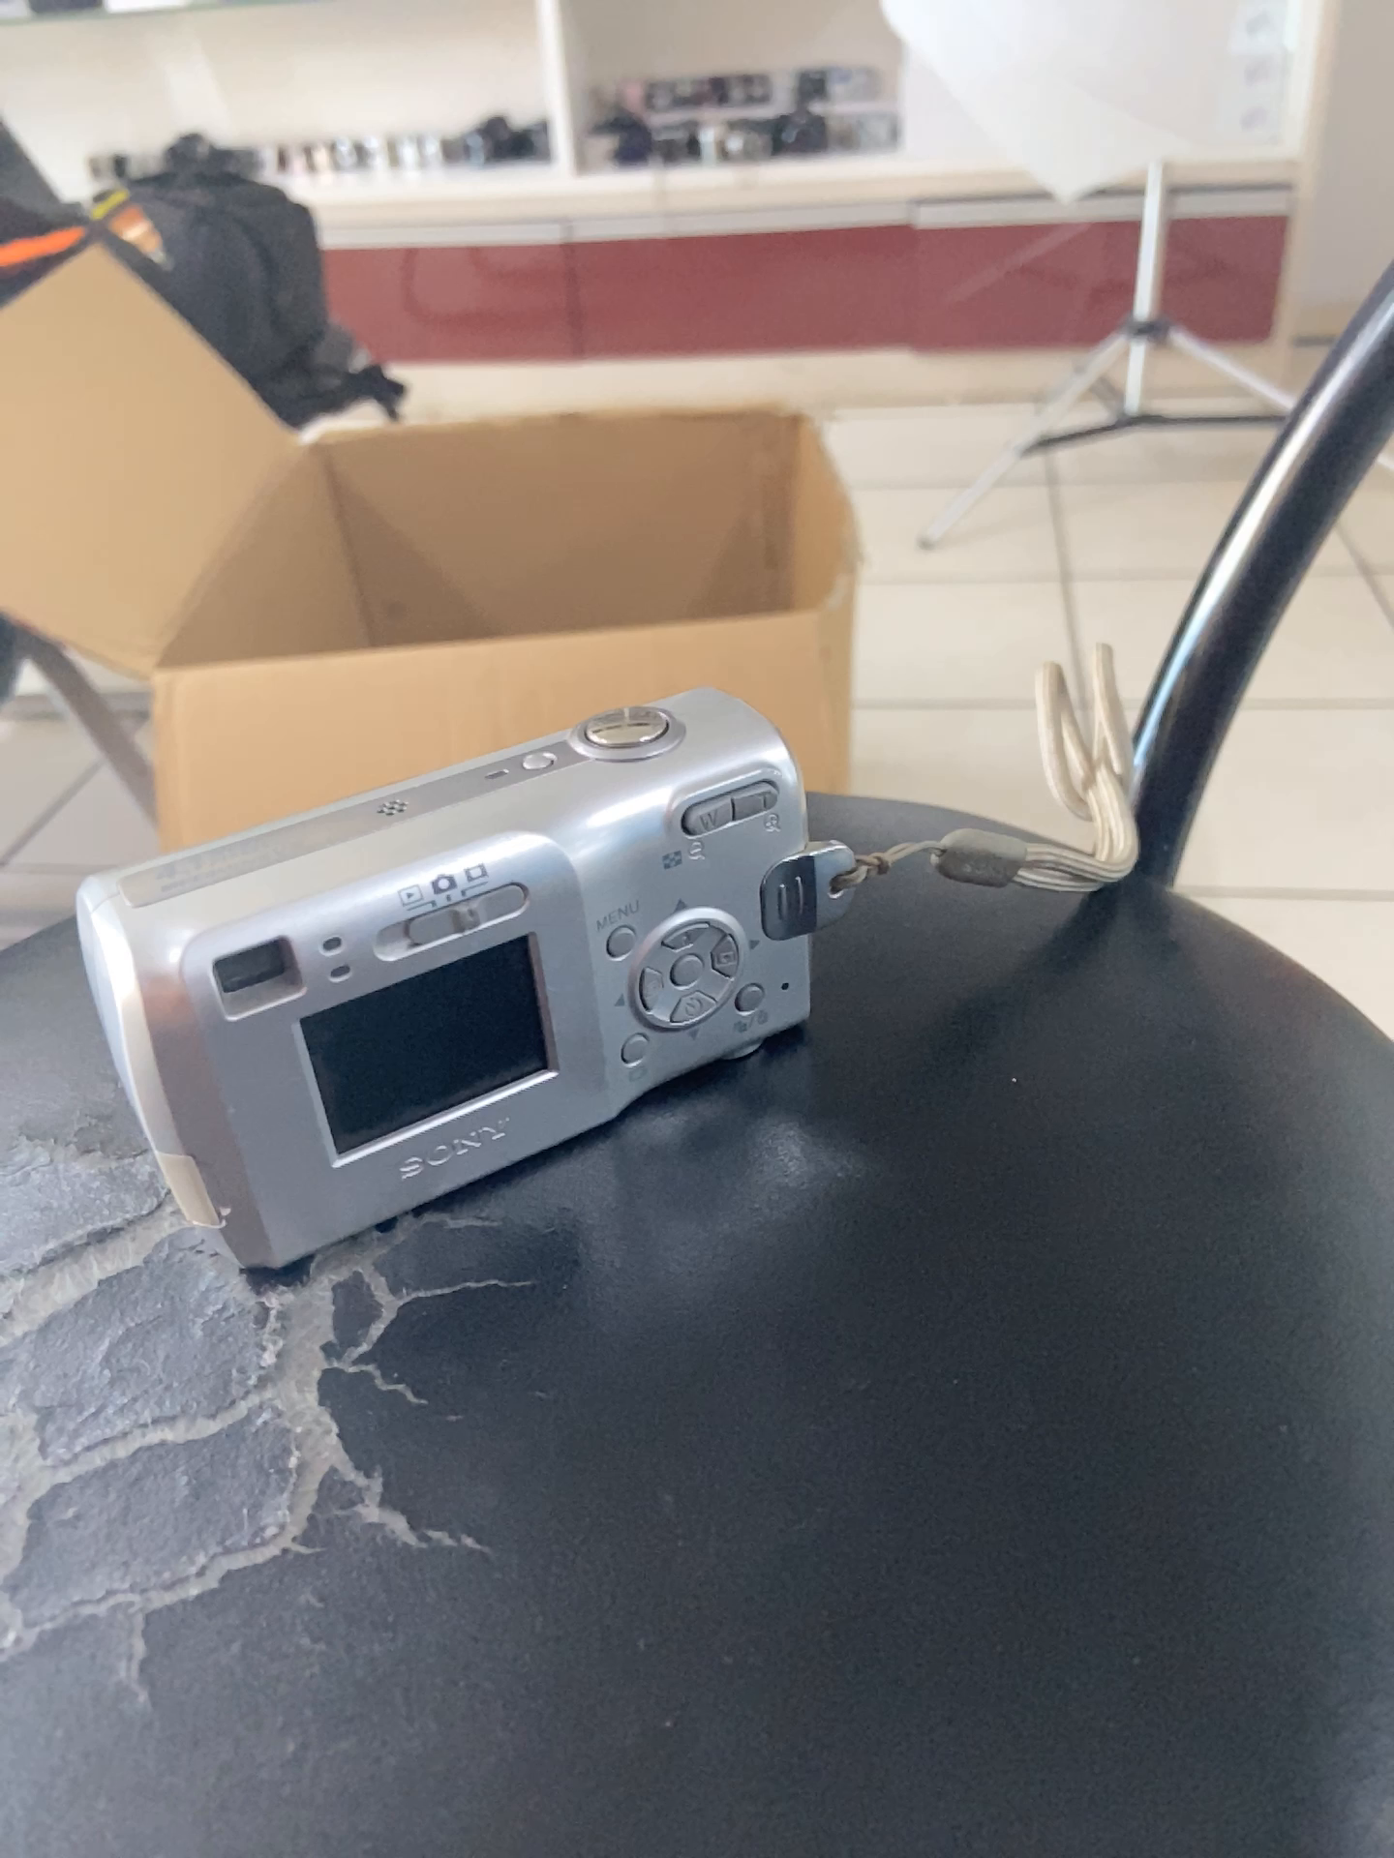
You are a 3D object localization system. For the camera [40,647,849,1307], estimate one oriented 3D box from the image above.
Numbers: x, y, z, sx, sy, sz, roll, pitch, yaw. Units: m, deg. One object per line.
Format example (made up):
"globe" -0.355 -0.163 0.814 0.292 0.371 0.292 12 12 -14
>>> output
"camera" -0.031 0.002 0.209 0.100 0.050 0.040 -21 38 -22
